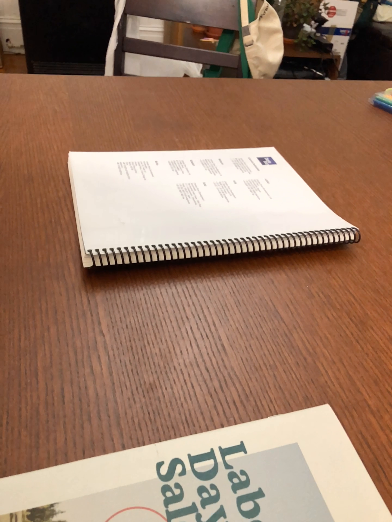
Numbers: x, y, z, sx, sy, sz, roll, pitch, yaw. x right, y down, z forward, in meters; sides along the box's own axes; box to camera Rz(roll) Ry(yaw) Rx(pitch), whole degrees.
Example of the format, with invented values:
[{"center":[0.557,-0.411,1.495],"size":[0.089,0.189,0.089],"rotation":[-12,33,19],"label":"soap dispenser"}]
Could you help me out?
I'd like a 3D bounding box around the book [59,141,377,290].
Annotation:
[{"center":[0.009,-0.072,0.491],"size":[0.300,0.020,0.231],"rotation":[-6,41,-17],"label":"book"}]
